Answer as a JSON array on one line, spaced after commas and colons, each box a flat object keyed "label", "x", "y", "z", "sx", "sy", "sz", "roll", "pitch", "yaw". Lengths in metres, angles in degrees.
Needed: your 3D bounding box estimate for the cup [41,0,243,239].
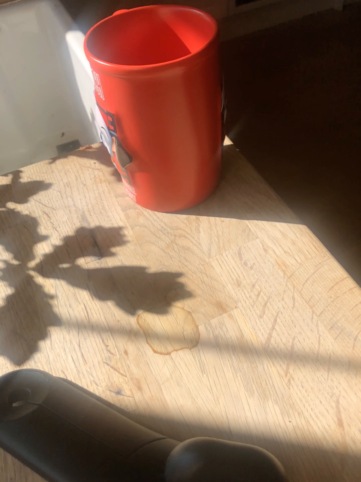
[{"label": "cup", "x": -0.026, "y": -0.101, "z": 0.304, "sx": 0.095, "sy": 0.119, "sz": 0.132, "roll": -22, "pitch": 50, "yaw": -9}]
